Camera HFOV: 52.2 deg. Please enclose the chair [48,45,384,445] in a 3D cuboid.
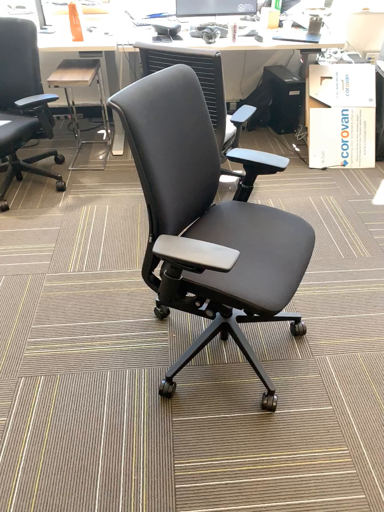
[{"bbox_3d":[0.135,-0.056,1.355,0.671,0.994,0.753,16,44,17],"label":"chair"}]
